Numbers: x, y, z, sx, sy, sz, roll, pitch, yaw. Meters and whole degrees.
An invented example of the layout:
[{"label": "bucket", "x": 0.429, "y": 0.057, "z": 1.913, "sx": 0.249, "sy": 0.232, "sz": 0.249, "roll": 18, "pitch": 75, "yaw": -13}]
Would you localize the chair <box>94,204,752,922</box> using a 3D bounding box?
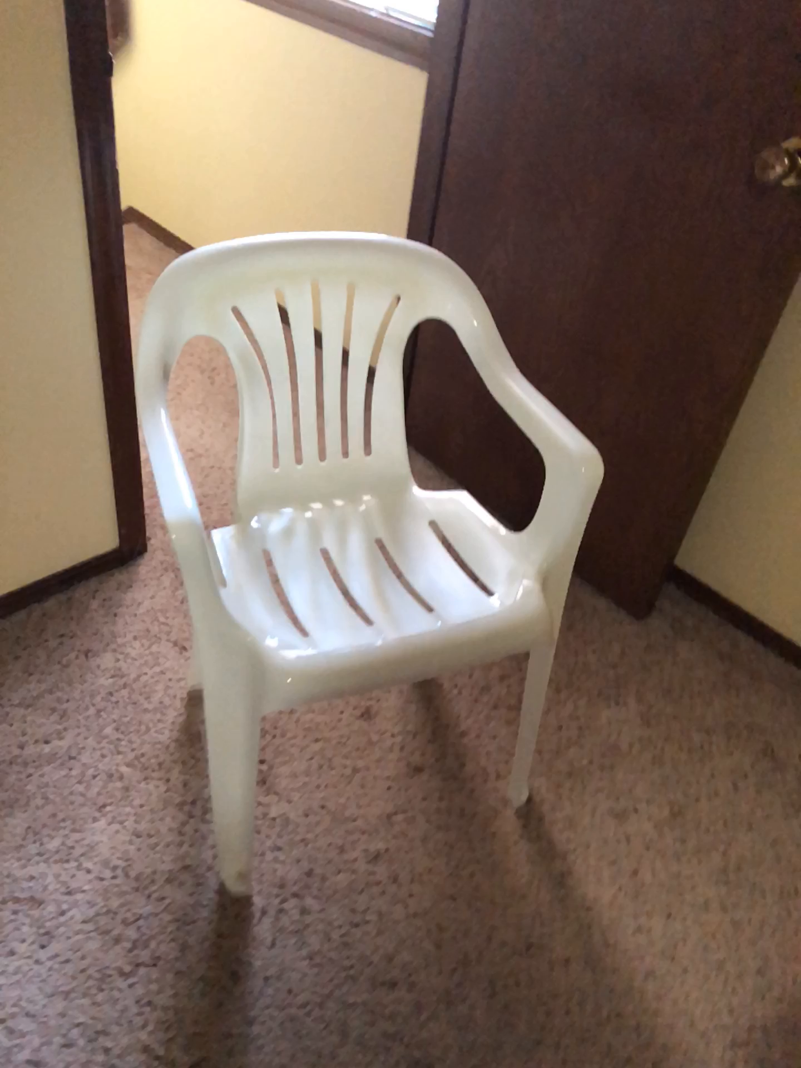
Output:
[{"label": "chair", "x": -0.042, "y": 0.029, "z": 1.200, "sx": 0.581, "sy": 0.768, "sz": 0.471, "roll": -10, "pitch": 43, "yaw": -22}]
